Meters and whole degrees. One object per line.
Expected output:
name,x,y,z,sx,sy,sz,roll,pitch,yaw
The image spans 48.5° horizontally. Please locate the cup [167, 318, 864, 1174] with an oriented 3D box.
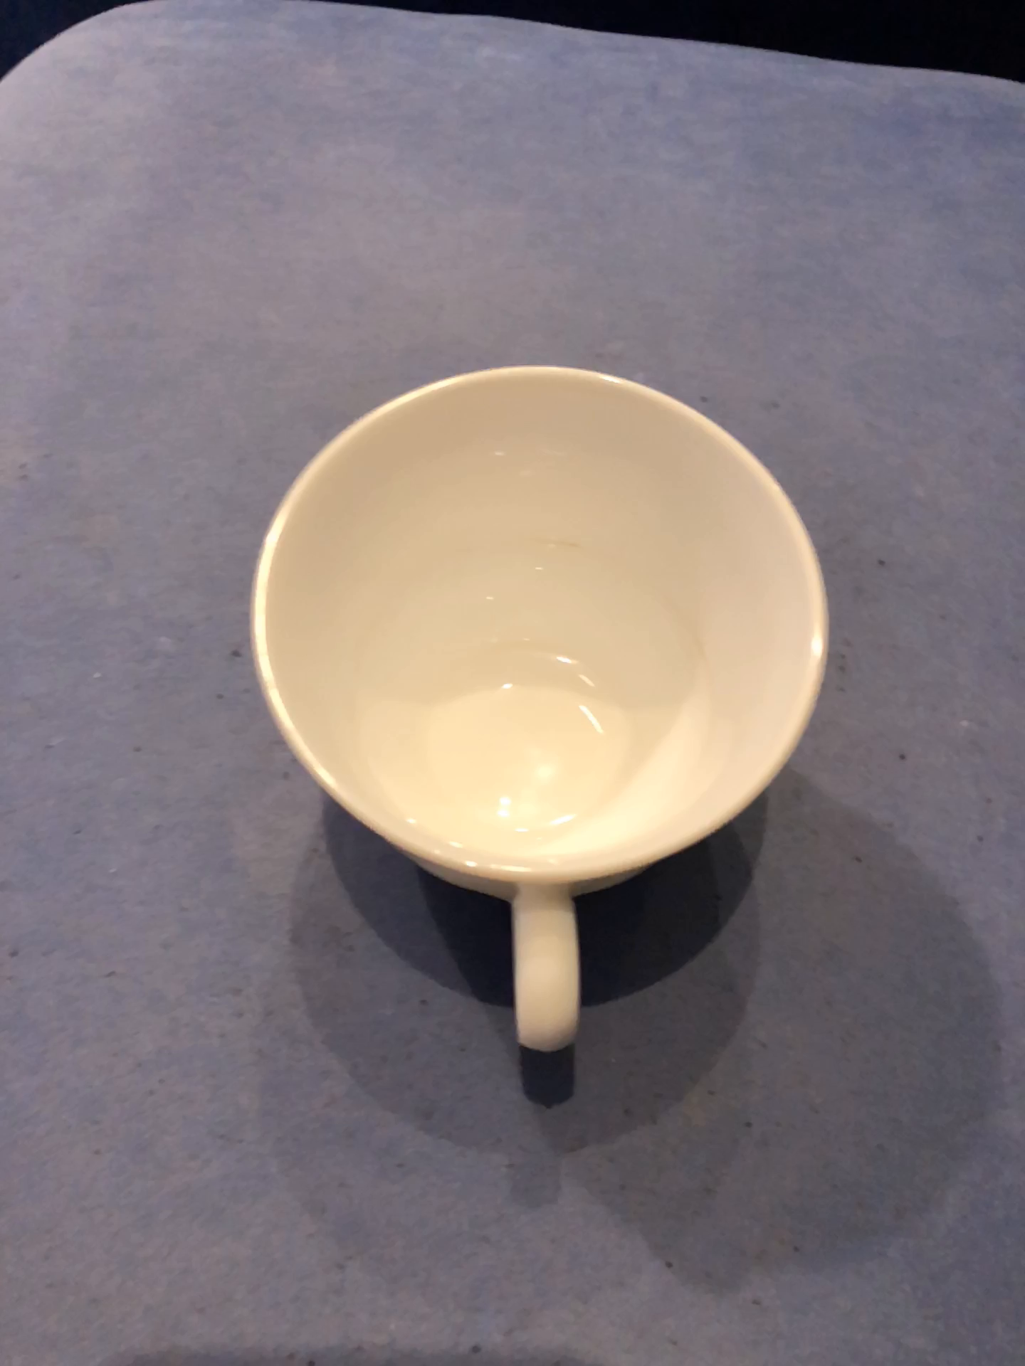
cup,0.003,0.009,0.178,0.080,0.050,0.120,3,65,1
